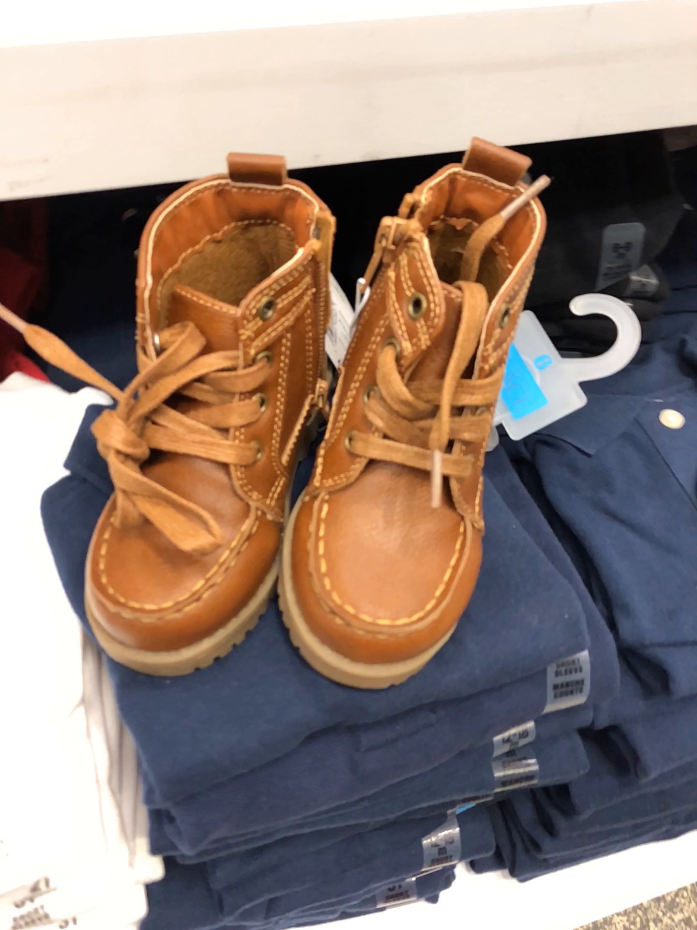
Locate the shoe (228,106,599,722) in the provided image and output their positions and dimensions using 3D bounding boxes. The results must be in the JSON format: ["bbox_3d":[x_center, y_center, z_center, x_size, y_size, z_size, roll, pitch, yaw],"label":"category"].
[{"bbox_3d":[0.023,-0.019,0.253,0.080,0.101,0.161,14,54,0],"label":"shoe"}]

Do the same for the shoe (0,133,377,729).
[{"bbox_3d":[-0.052,-0.016,0.251,0.080,0.101,0.151,15,54,13],"label":"shoe"}]
